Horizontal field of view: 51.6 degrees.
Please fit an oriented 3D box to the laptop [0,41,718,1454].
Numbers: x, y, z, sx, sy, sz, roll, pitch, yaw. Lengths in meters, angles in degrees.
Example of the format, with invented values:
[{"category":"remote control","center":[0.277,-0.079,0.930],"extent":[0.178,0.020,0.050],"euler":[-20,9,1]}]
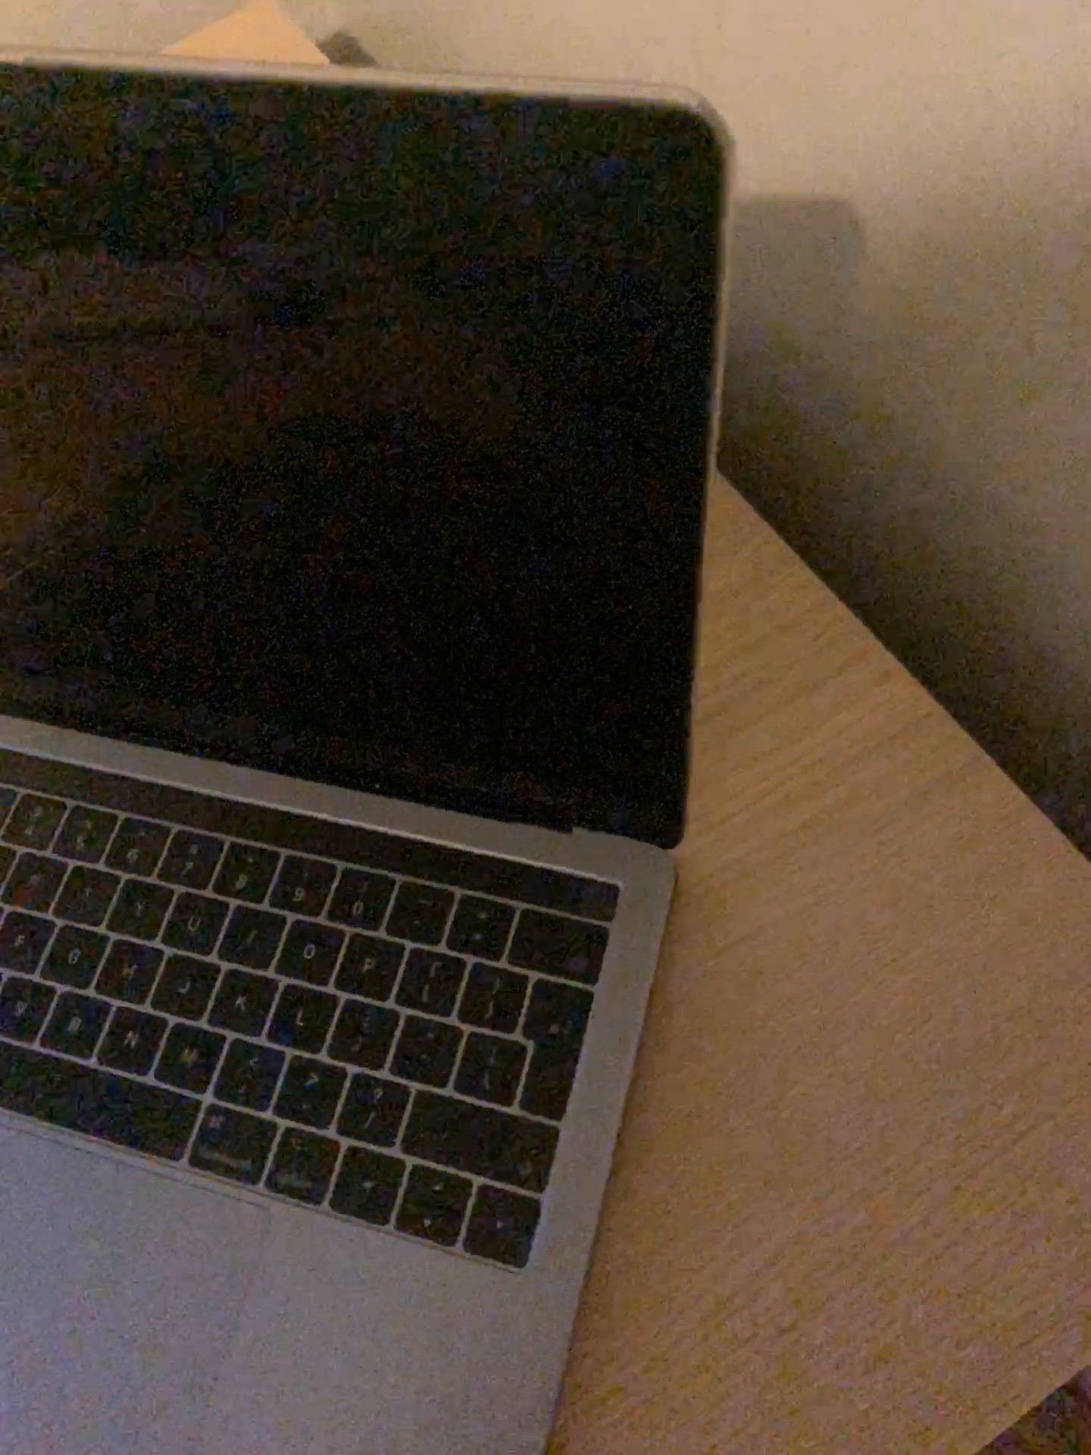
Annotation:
[{"category":"laptop","center":[-0.136,0.035,0.245],"extent":[0.294,0.198,0.257],"euler":[11,66,14]}]
